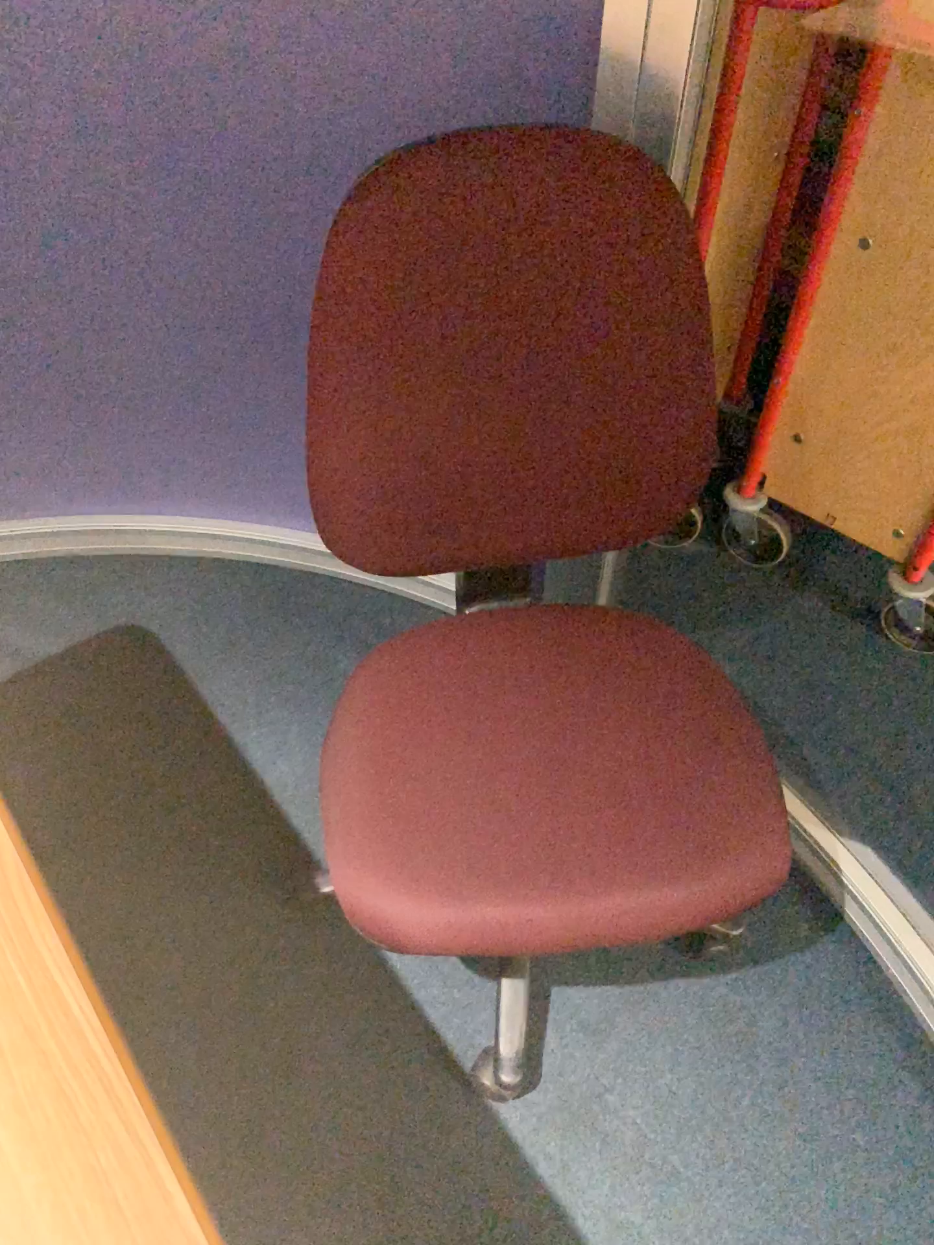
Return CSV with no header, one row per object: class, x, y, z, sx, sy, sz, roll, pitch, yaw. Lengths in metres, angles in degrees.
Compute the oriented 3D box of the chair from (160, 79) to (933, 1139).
chair,0.051,-0.027,1.092,0.580,0.773,0.857,-8,50,-7
